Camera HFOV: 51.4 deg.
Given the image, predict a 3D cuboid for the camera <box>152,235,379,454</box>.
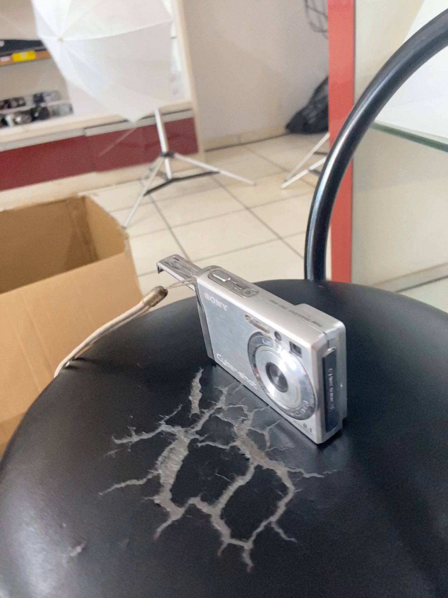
[{"bbox_3d":[0.013,0.013,0.242,0.030,0.053,0.136,-26,36,-27],"label":"camera"}]
